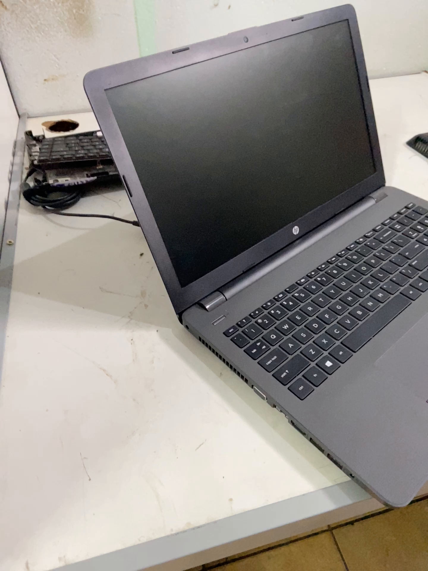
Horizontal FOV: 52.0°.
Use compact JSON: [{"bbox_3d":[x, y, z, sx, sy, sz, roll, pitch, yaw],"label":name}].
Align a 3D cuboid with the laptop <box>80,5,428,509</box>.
[{"bbox_3d":[0.151,-0.097,0.435,0.381,0.206,0.365,-32,52,-28],"label":"laptop"}]
